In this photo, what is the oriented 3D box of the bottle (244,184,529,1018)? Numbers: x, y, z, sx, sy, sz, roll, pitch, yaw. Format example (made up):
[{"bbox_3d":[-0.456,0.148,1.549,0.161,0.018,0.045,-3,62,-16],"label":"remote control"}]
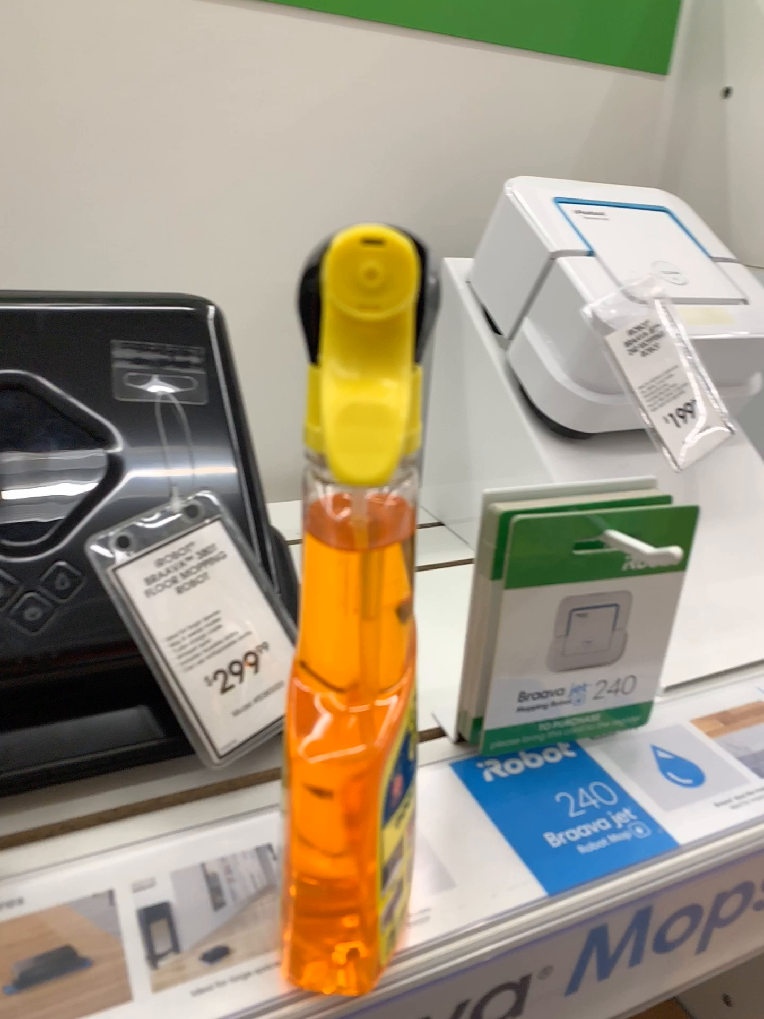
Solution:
[{"bbox_3d":[-0.002,0.026,0.237,0.050,0.226,0.100,7,22,3],"label":"bottle"}]
